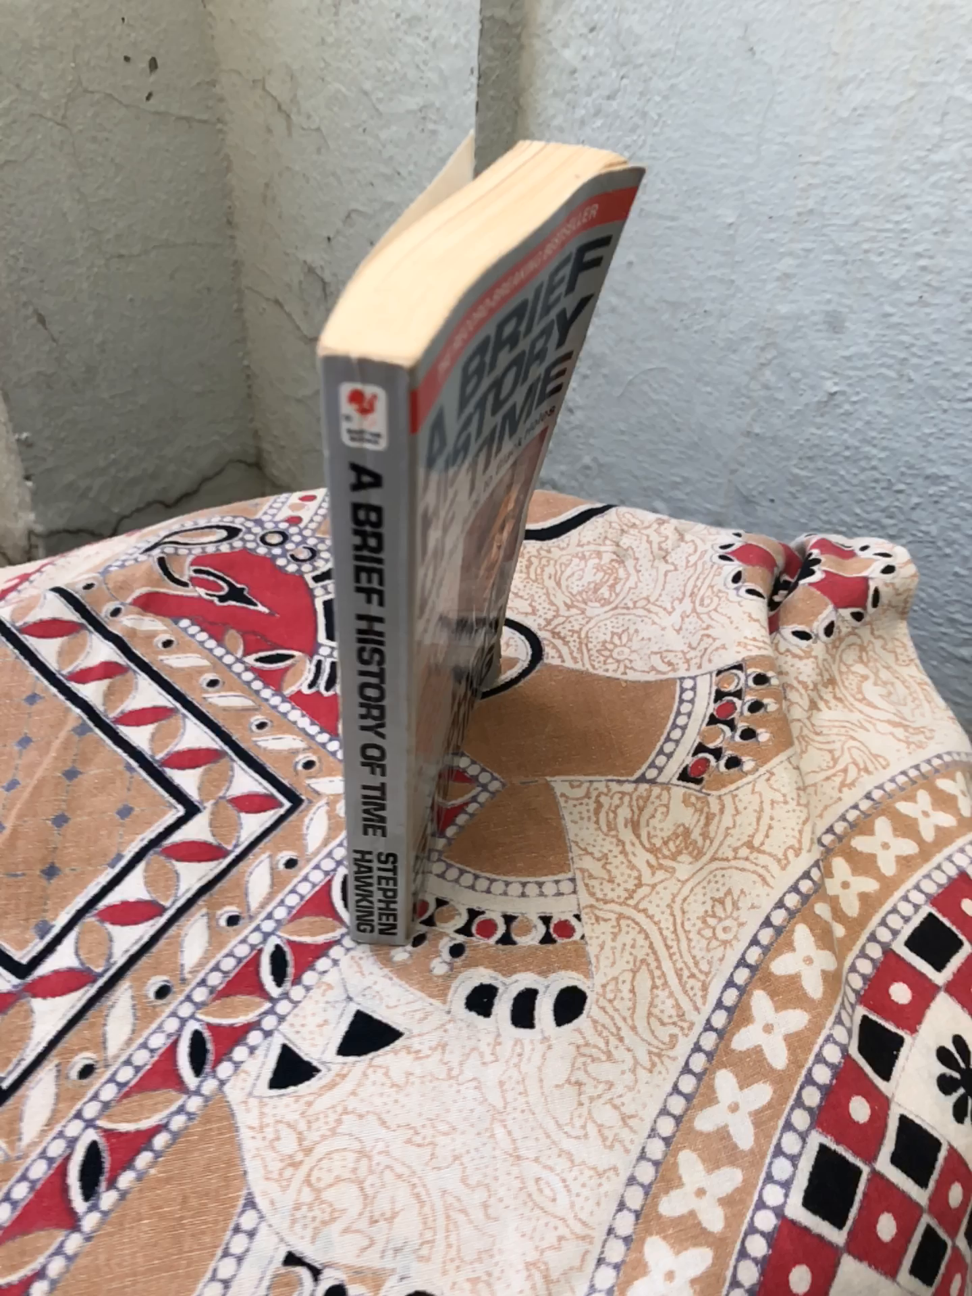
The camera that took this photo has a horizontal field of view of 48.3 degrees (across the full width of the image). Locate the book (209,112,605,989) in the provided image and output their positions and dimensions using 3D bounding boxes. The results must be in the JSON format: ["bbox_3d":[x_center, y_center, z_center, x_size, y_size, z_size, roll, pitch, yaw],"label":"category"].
[{"bbox_3d":[-0.014,-0.020,0.266,0.030,0.169,0.131,16,44,10],"label":"book"}]
